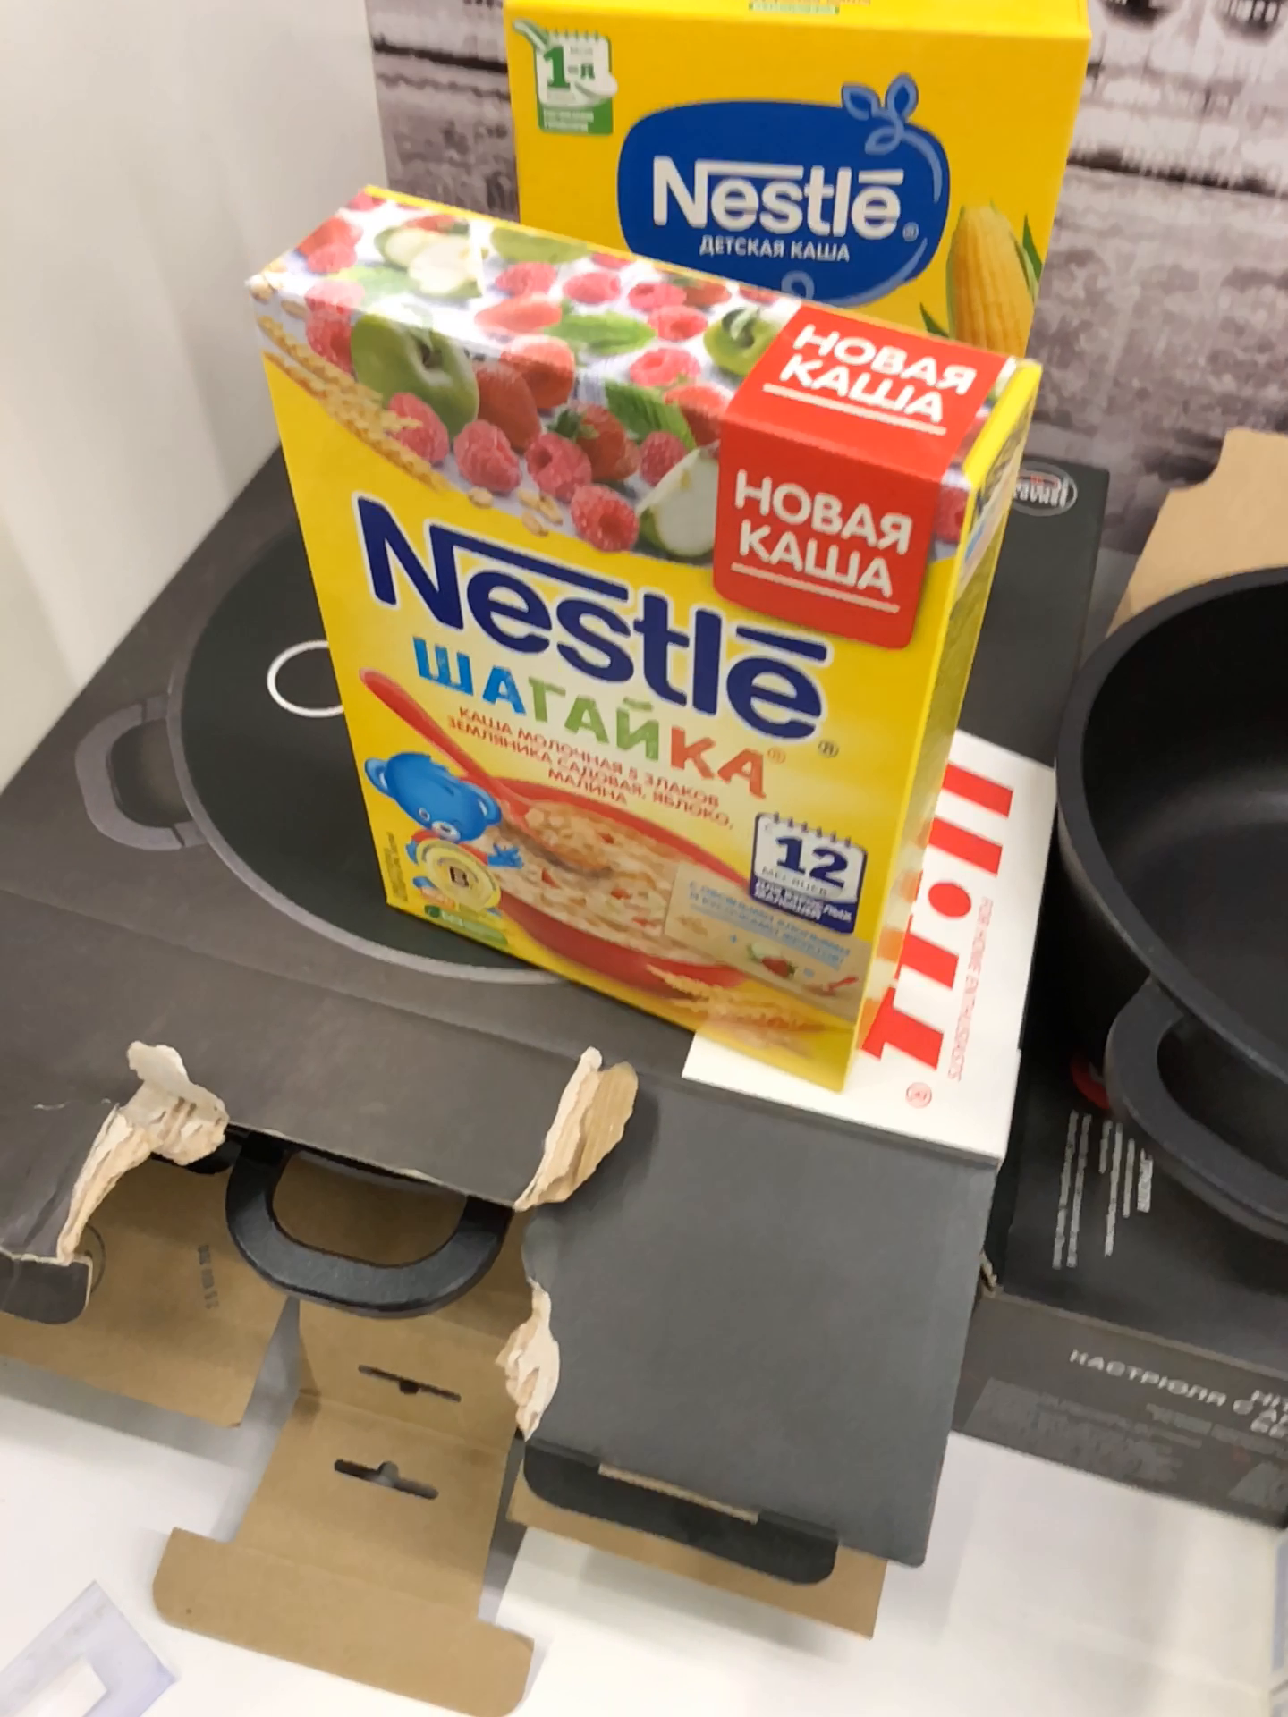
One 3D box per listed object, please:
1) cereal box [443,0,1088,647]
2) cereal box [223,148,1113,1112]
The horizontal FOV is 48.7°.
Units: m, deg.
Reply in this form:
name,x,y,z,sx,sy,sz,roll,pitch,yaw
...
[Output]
name,x,y,z,sx,sy,sz,roll,pitch,yaw
cereal box,0.033,-0.165,0.444,0.160,0.199,0.050,6,50,6
cereal box,0.002,-0.042,0.340,0.160,0.199,0.050,21,53,18
